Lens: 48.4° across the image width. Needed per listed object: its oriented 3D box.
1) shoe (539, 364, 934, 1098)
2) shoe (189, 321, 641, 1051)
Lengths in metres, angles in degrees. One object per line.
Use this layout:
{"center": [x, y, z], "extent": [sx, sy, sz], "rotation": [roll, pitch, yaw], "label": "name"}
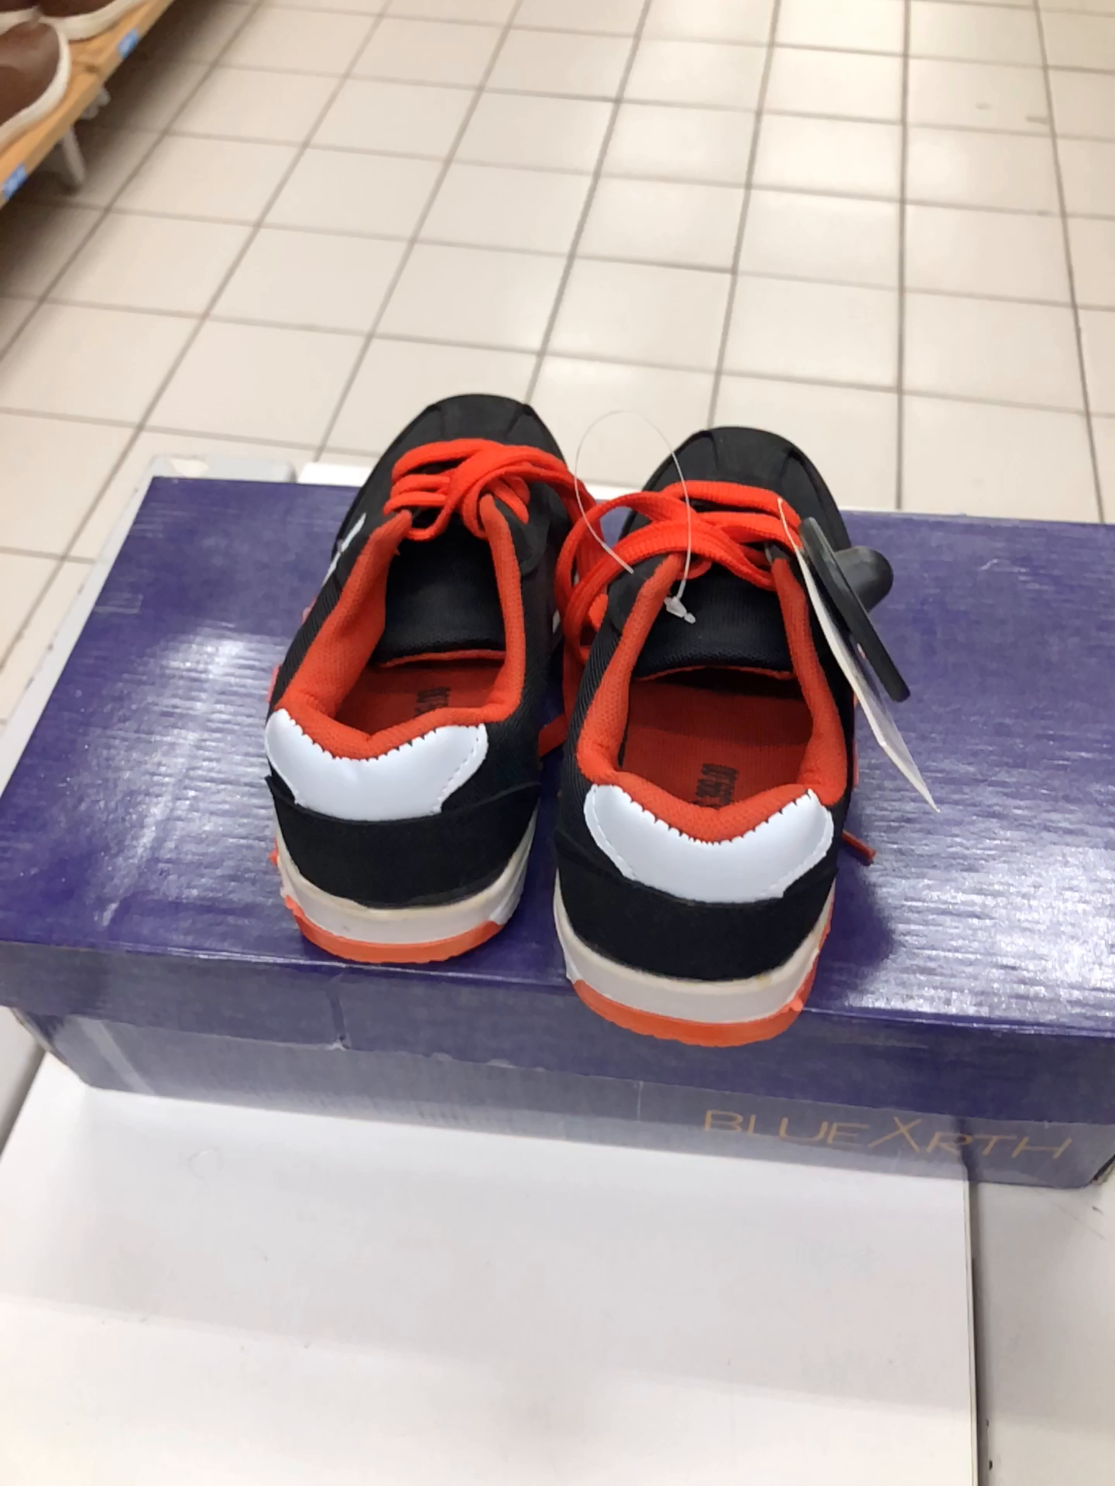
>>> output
{"center": [0.047, -0.008, 0.343], "extent": [0.080, 0.099, 0.171], "rotation": [6, 53, 4], "label": "shoe"}
{"center": [-0.027, -0.022, 0.356], "extent": [0.080, 0.099, 0.181], "rotation": [6, 53, 4], "label": "shoe"}
